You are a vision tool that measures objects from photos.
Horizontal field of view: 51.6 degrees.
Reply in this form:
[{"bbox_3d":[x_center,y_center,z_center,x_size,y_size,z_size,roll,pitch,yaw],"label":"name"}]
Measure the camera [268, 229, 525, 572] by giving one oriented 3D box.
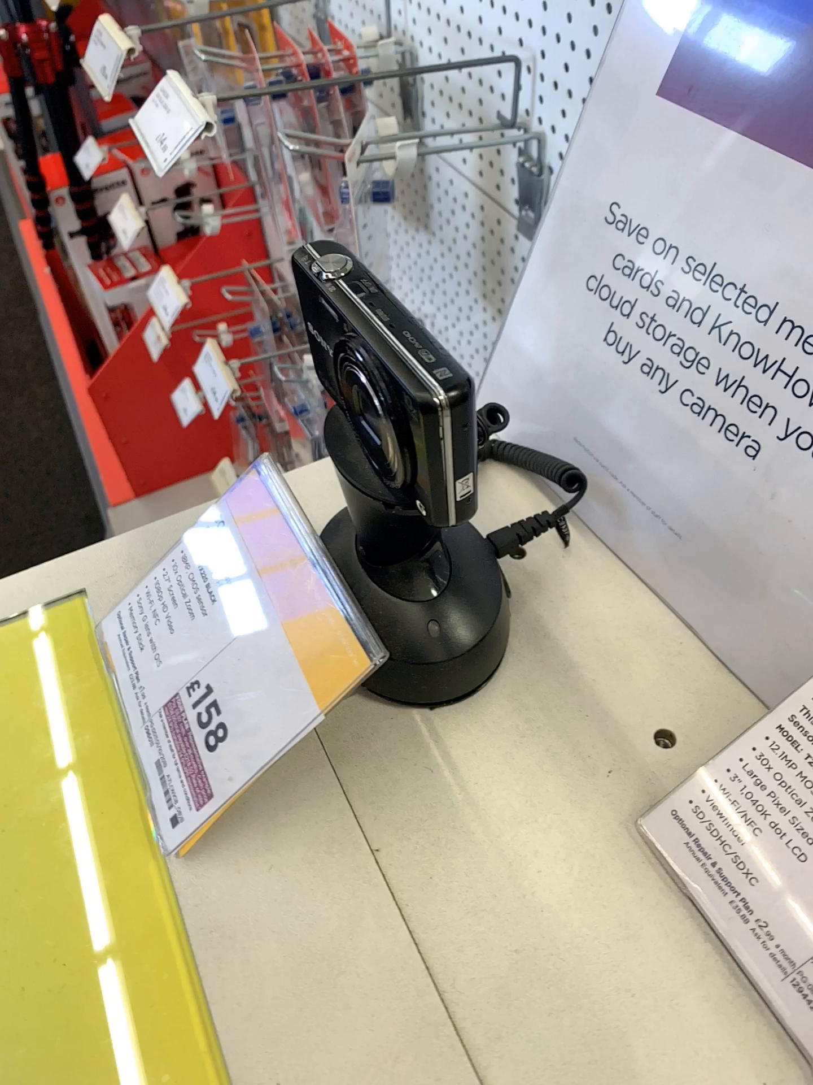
[{"bbox_3d":[-0.005,-0.046,0.253,0.030,0.050,0.101,-23,50,-15],"label":"camera"}]
